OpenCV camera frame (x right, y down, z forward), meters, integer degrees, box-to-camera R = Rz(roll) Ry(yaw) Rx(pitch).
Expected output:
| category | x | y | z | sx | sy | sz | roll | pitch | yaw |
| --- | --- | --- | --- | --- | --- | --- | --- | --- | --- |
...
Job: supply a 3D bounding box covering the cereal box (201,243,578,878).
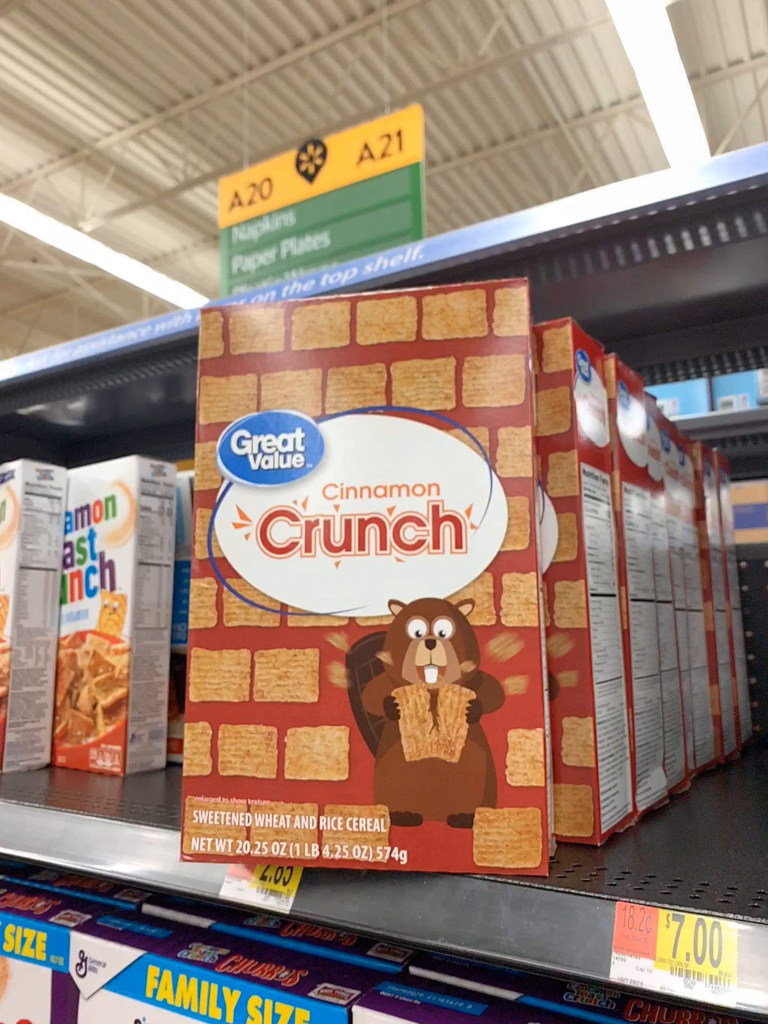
| category | x | y | z | sx | sy | sz | roll | pitch | yaw |
| --- | --- | --- | --- | --- | --- | --- | --- | --- | --- |
| cereal box | 0.004 | 0.021 | 0.460 | 0.190 | 0.331 | 0.070 | -1 | -10 | 8 |
